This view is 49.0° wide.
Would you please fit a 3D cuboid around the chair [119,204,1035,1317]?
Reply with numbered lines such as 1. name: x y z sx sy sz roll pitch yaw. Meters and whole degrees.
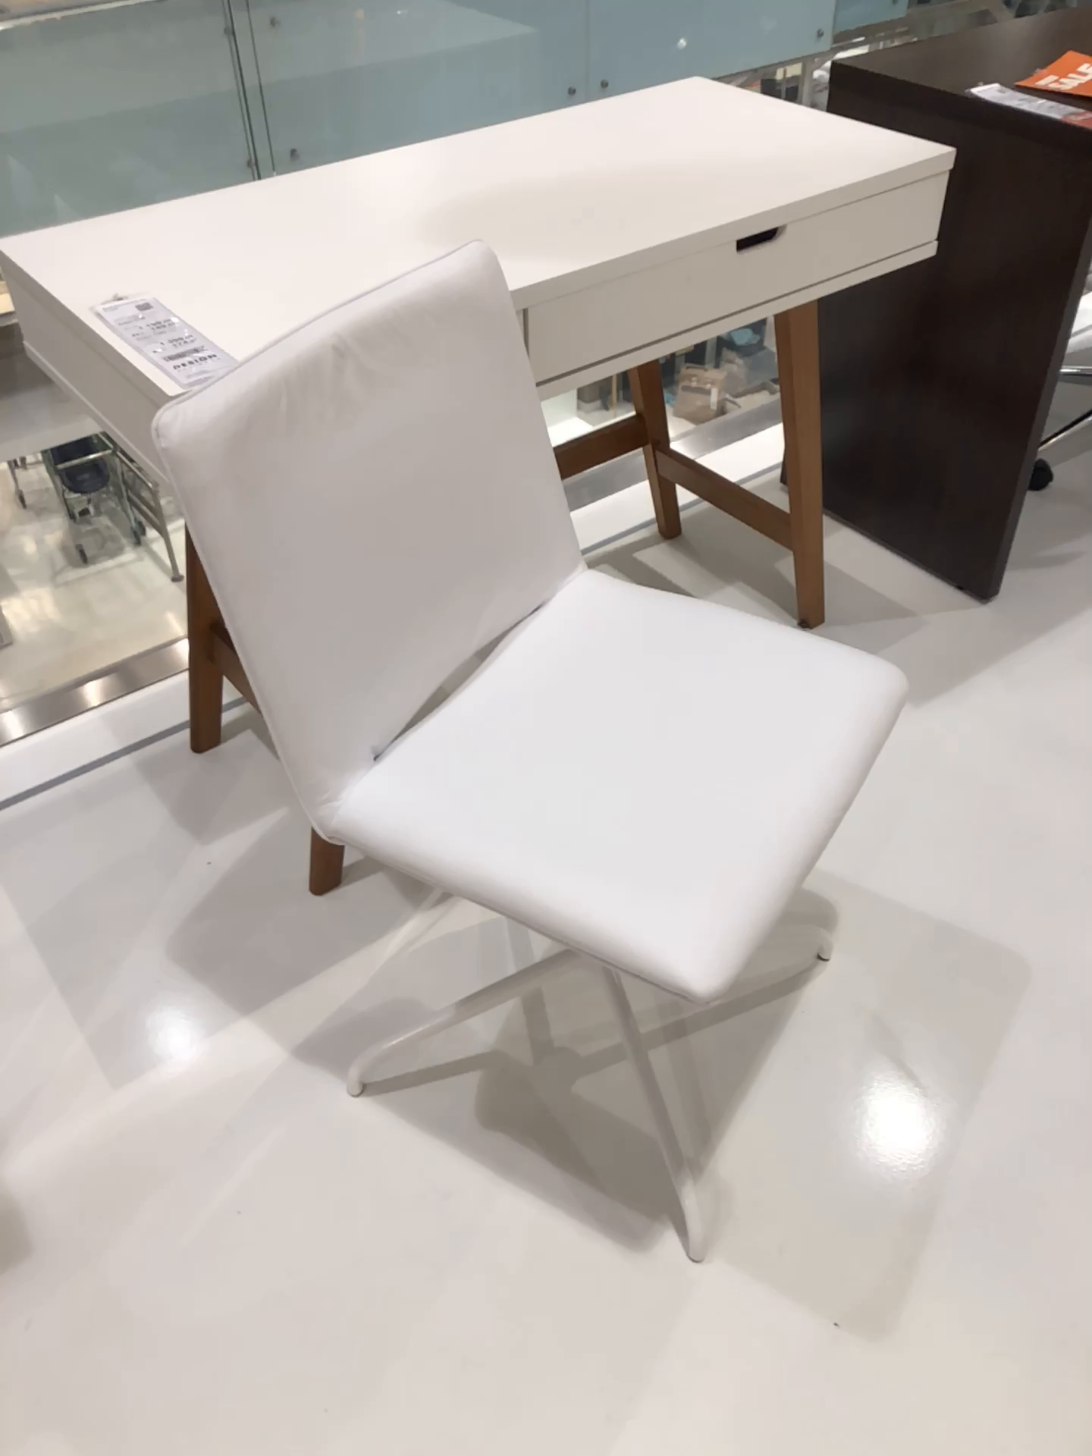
1. chair: 0.057 0.037 1.177 0.501 0.843 0.513 21 46 24
